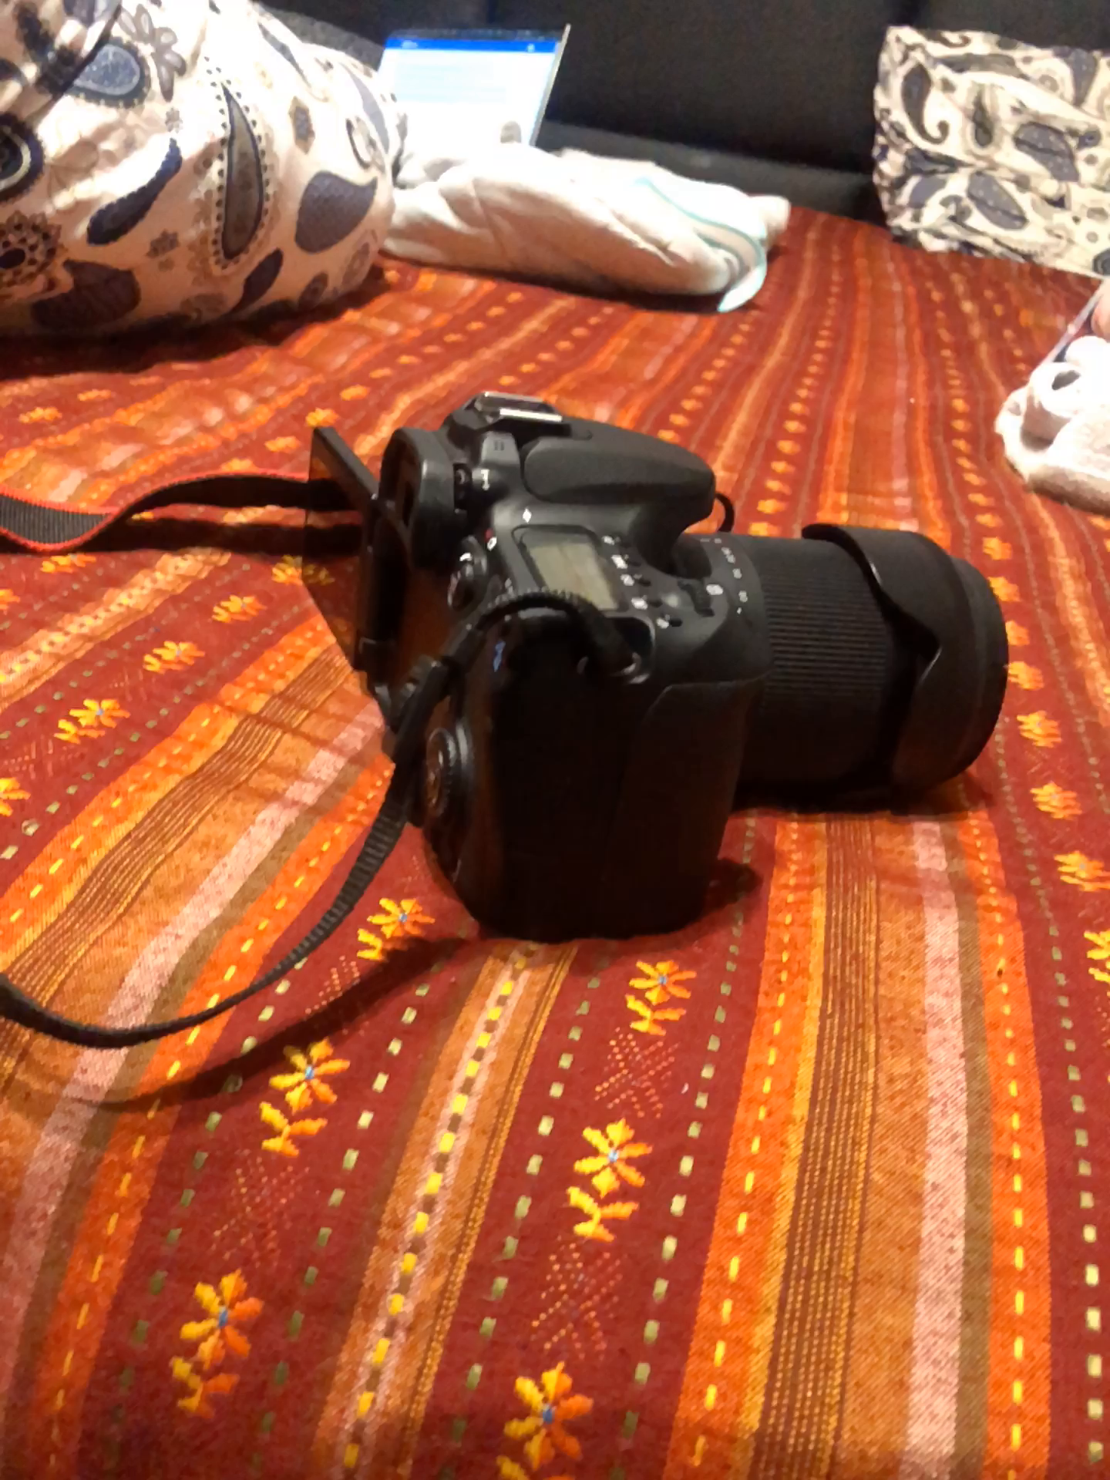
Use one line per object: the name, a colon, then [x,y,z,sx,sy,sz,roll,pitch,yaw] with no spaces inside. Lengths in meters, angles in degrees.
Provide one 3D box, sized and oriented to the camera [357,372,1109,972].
camera: [0.047,-0.030,0.339,0.170,0.099,0.131,-5,33,-23]
